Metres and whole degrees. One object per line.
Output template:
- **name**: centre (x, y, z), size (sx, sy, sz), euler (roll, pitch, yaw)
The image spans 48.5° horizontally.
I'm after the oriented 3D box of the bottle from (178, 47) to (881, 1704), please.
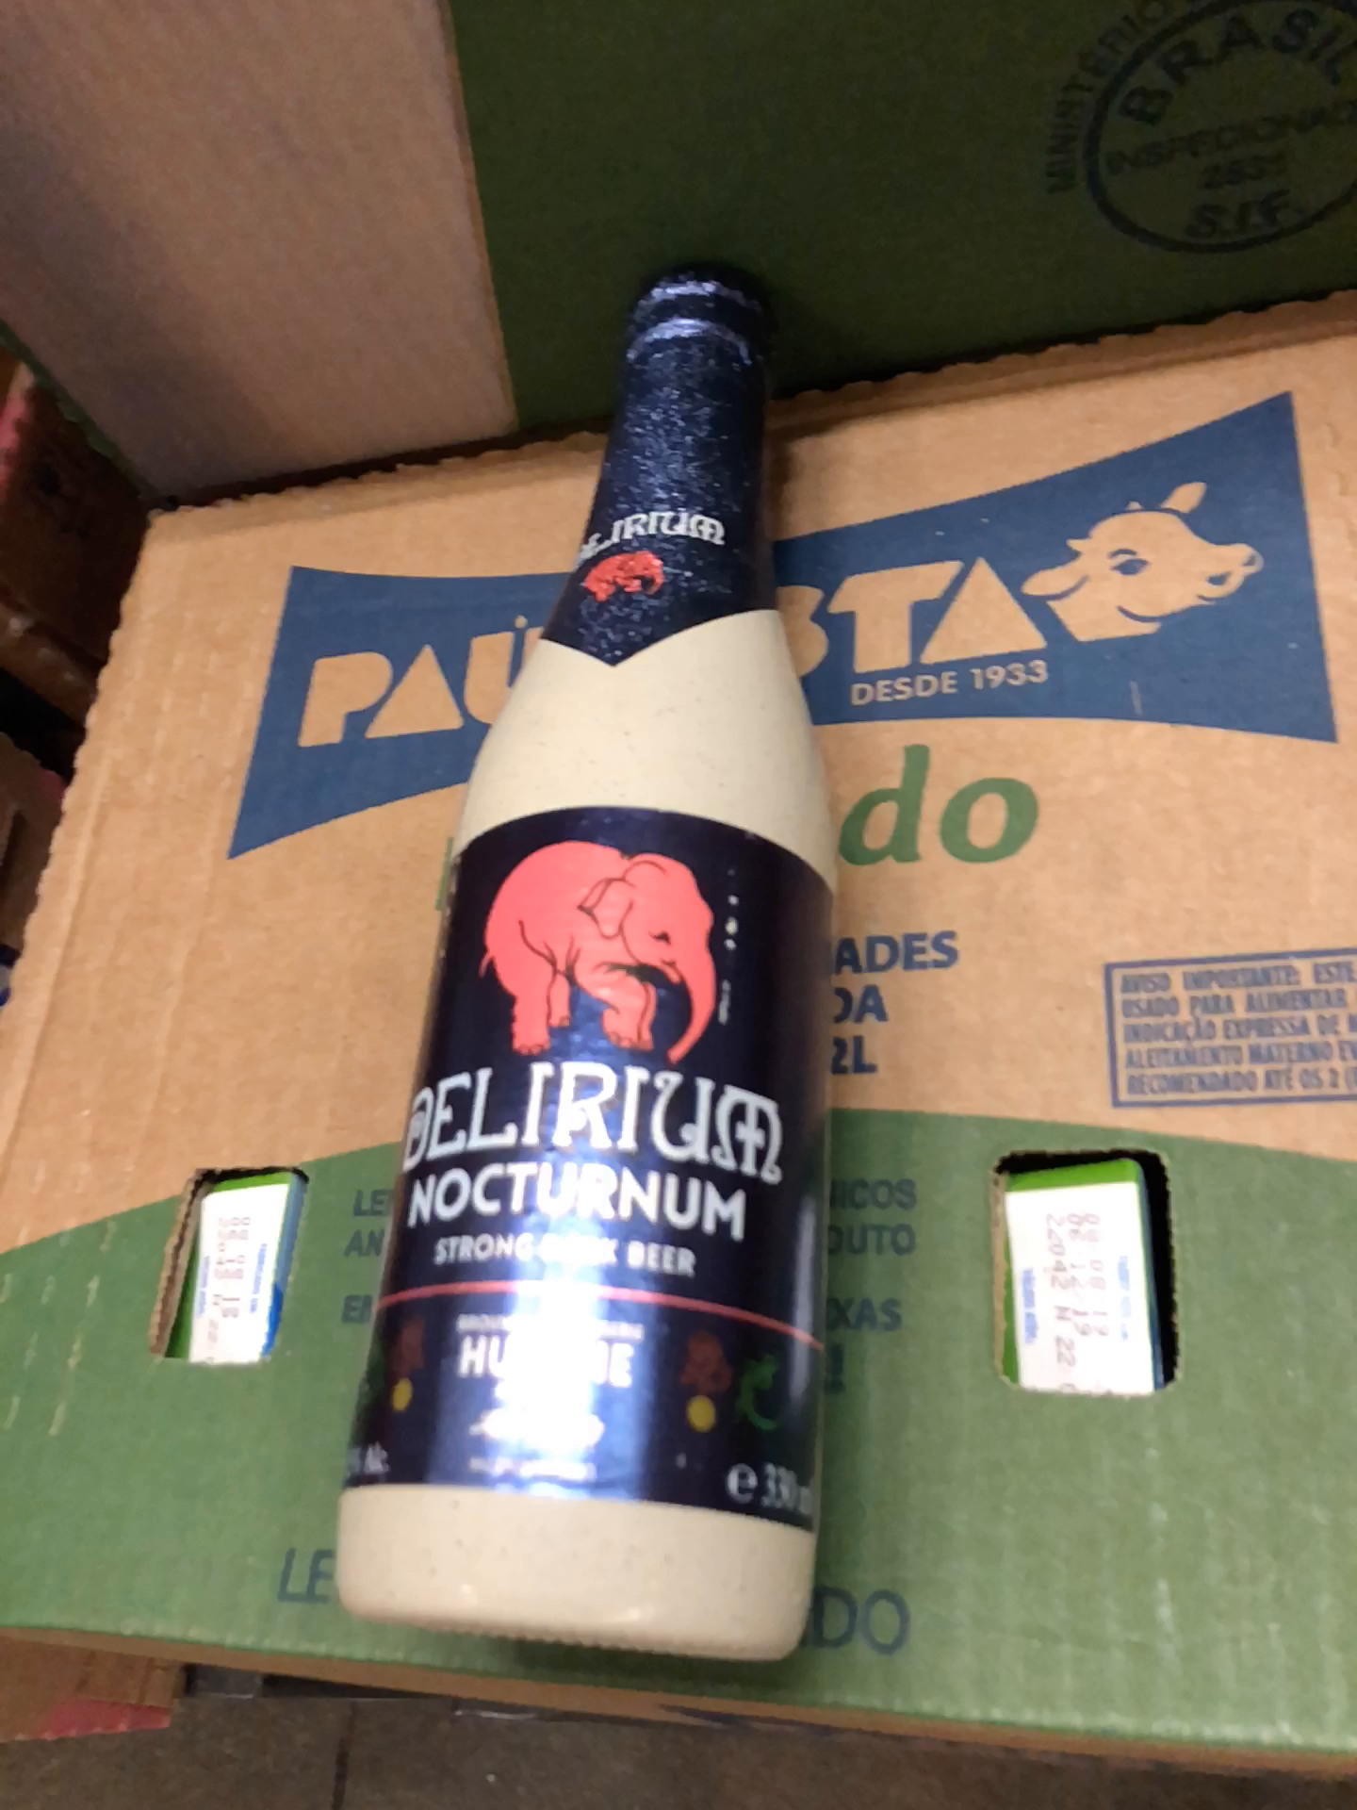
- **bottle**: centre (-0.006, -0.024, 0.229), size (0.060, 0.050, 0.251), euler (-4, 60, 18)
